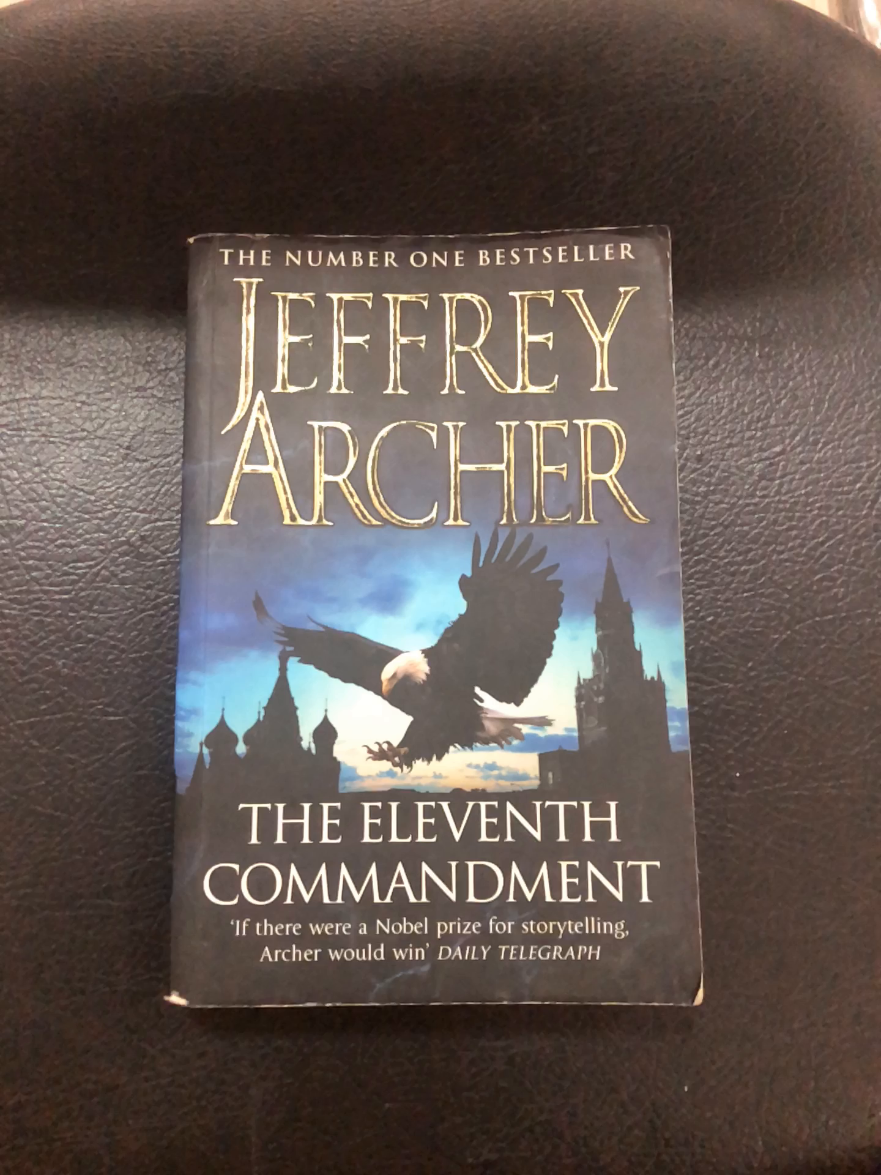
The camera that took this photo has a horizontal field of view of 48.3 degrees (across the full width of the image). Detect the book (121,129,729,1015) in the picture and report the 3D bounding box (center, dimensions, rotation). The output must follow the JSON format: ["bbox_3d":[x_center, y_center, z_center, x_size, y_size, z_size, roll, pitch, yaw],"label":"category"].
[{"bbox_3d":[-0.003,-0.006,0.242,0.130,0.040,0.200,1,83,-3],"label":"book"}]
